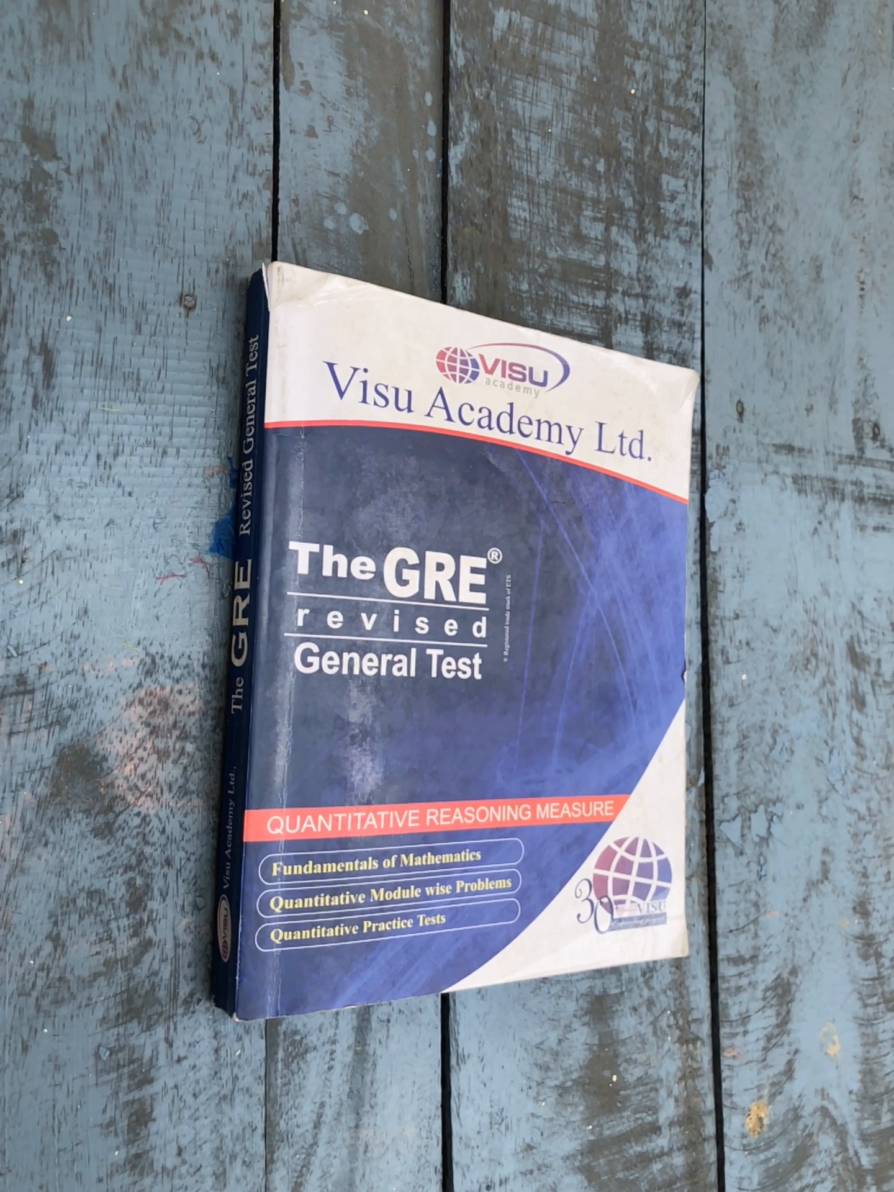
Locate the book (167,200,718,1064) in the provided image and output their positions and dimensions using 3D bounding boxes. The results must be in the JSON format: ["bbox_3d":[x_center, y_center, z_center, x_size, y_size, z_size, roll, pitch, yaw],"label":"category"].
[{"bbox_3d":[0.009,0.016,0.414,0.221,0.060,0.290,5,82,-31],"label":"book"}]
